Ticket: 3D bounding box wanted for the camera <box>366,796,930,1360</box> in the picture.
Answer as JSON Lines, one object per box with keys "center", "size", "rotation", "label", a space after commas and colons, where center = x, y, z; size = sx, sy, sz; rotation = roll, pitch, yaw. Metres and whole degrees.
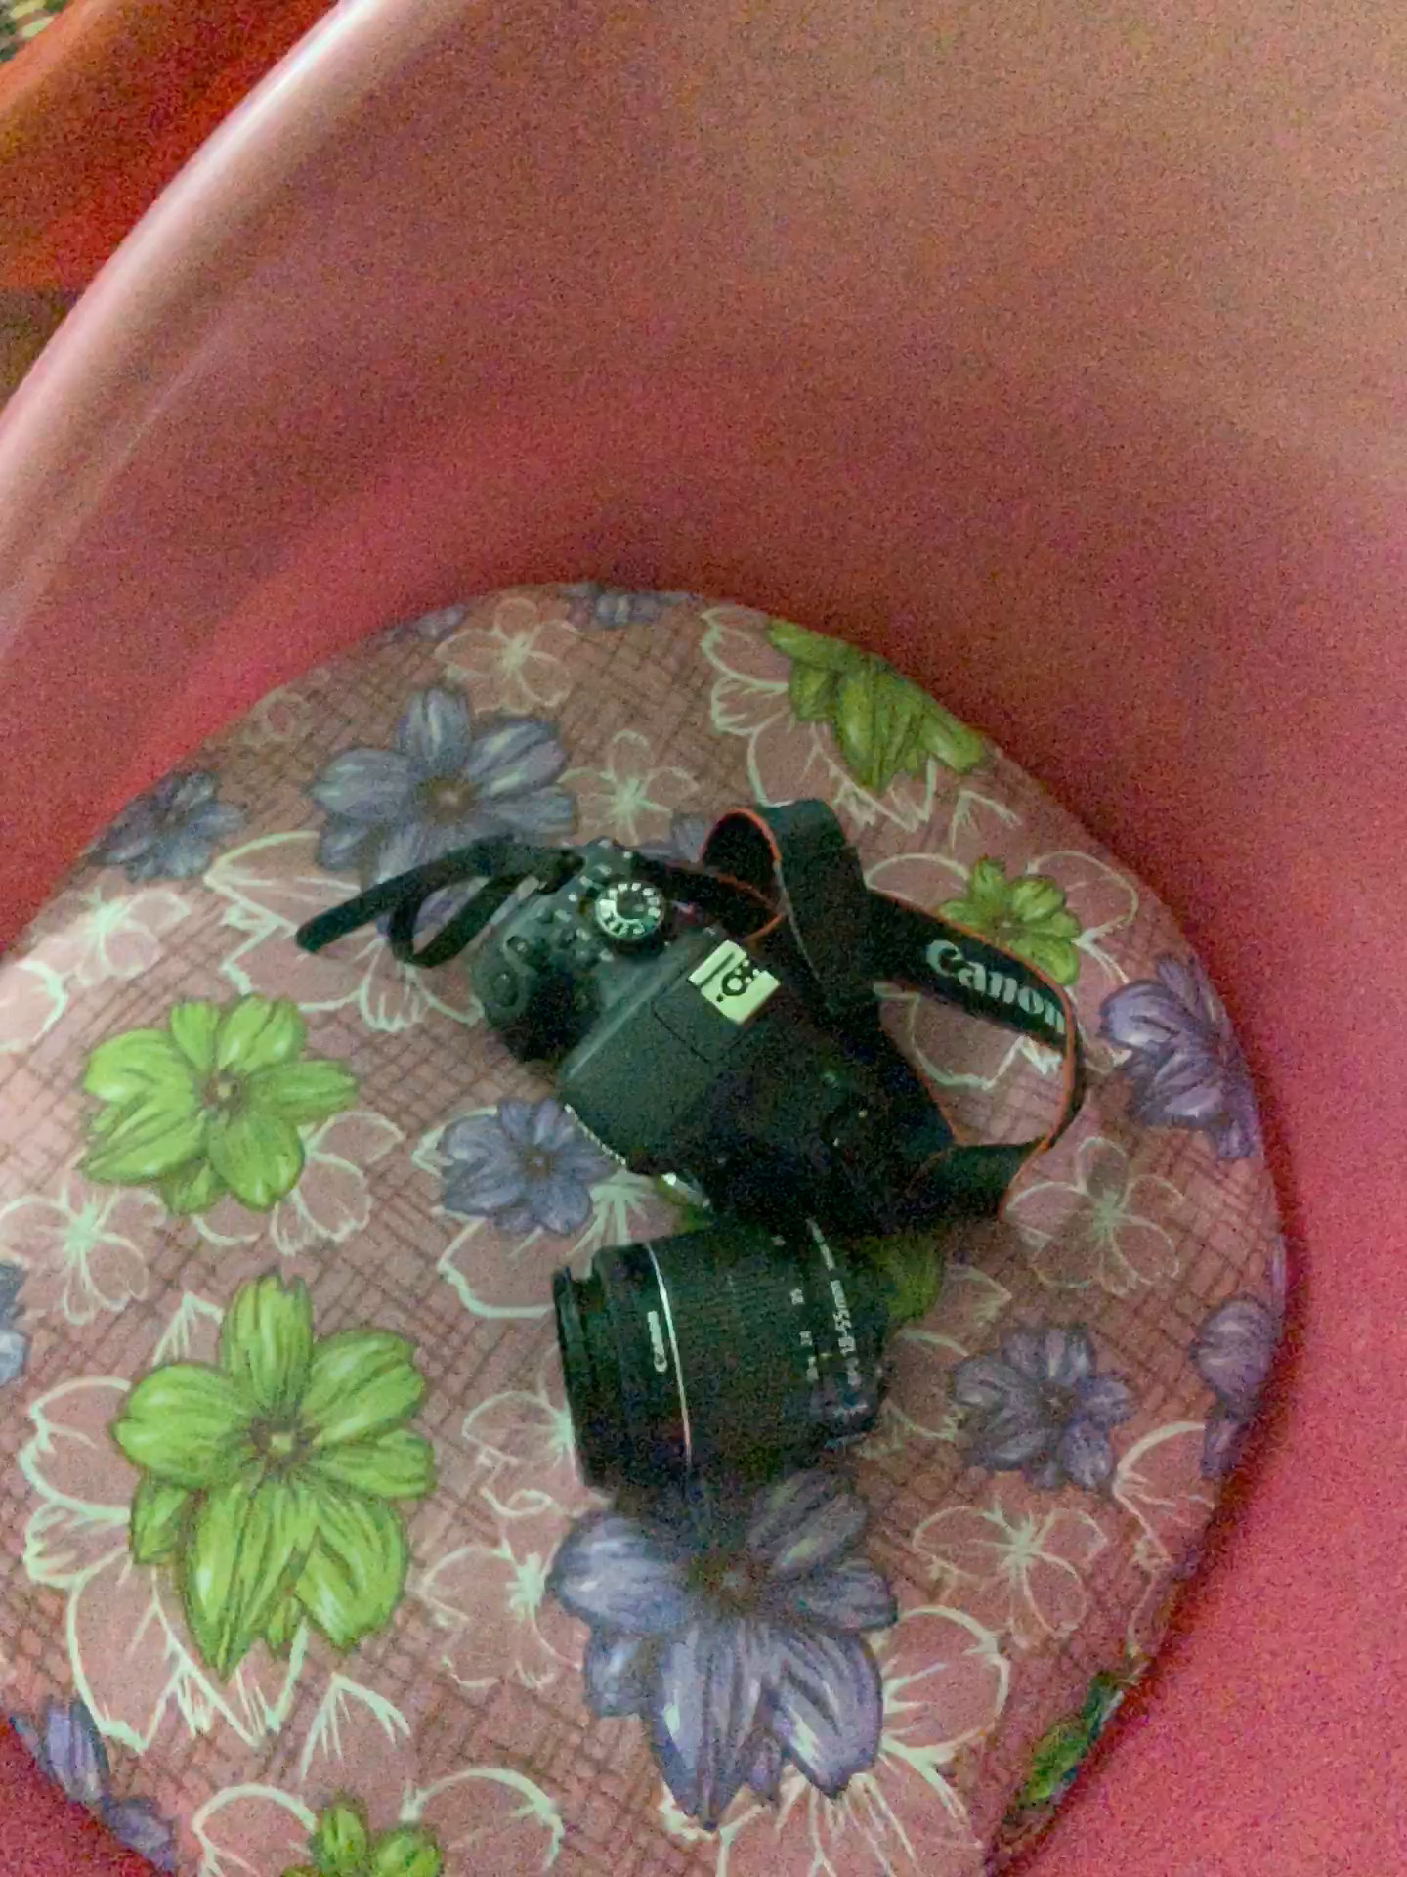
{"center": [-0.016, 0.043, 0.452], "size": [0.143, 0.078, 0.086], "rotation": [38, 72, 19], "label": "camera"}
